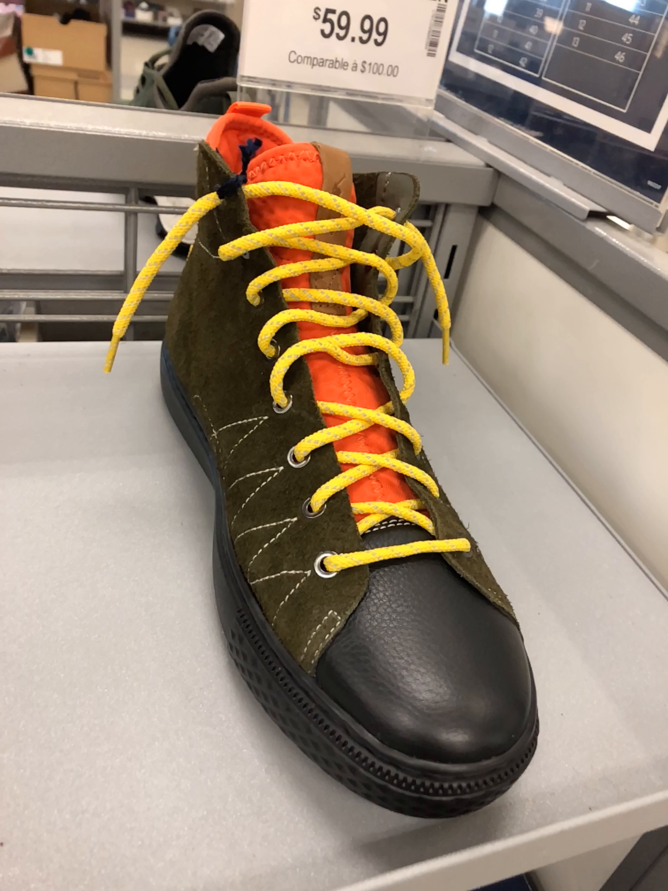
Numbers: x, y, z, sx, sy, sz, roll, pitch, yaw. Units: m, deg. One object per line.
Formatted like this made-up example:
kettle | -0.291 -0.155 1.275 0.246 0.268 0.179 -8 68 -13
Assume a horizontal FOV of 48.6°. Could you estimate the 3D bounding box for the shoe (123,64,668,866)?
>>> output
shoe | 0.001 -0.032 0.317 0.125 0.171 0.299 -6 38 -24
